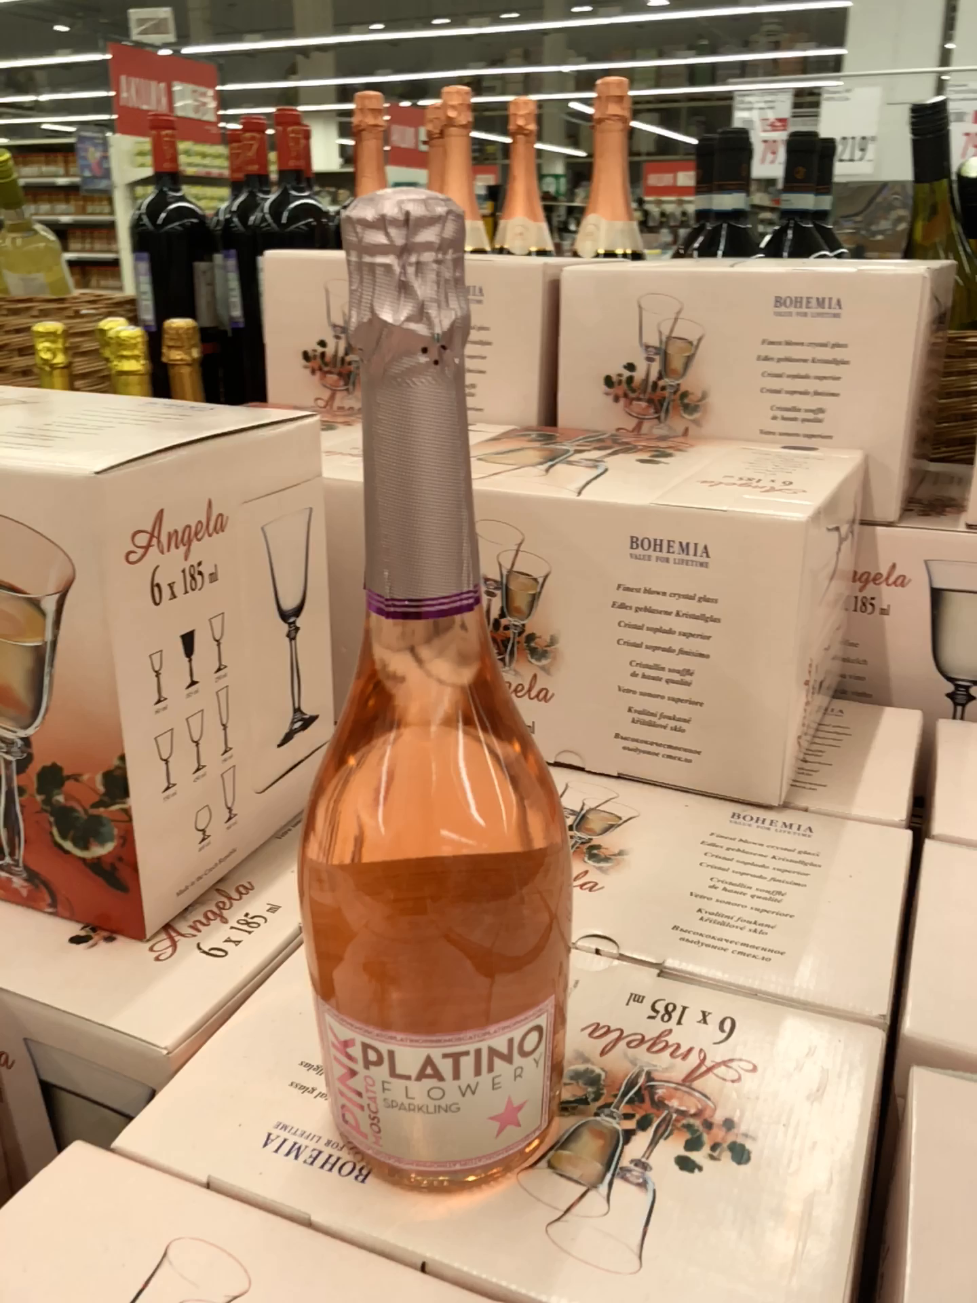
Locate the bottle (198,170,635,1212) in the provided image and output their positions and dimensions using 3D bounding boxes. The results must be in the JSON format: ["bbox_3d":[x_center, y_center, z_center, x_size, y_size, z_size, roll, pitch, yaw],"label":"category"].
[{"bbox_3d":[-0.014,0.018,0.345,0.100,0.309,0.100,0,20,0],"label":"bottle"}]
